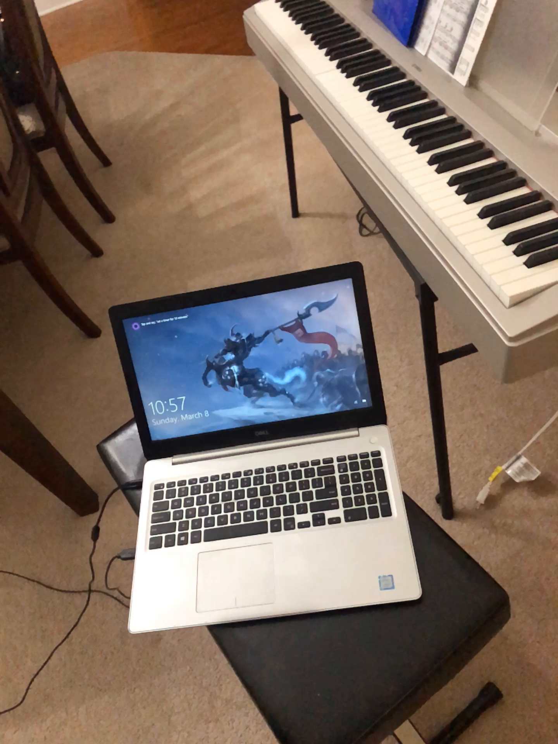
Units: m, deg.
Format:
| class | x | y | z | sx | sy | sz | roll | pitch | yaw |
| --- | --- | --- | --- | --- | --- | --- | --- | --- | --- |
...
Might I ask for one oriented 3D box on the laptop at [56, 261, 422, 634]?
| class | x | y | z | sx | sy | sz | roll | pitch | yaw |
| --- | --- | --- | --- | --- | --- | --- | --- | --- | --- |
| laptop | -0.042 | 0.090 | 0.821 | 0.374 | 0.183 | 0.410 | -10 | 50 | 7 |
